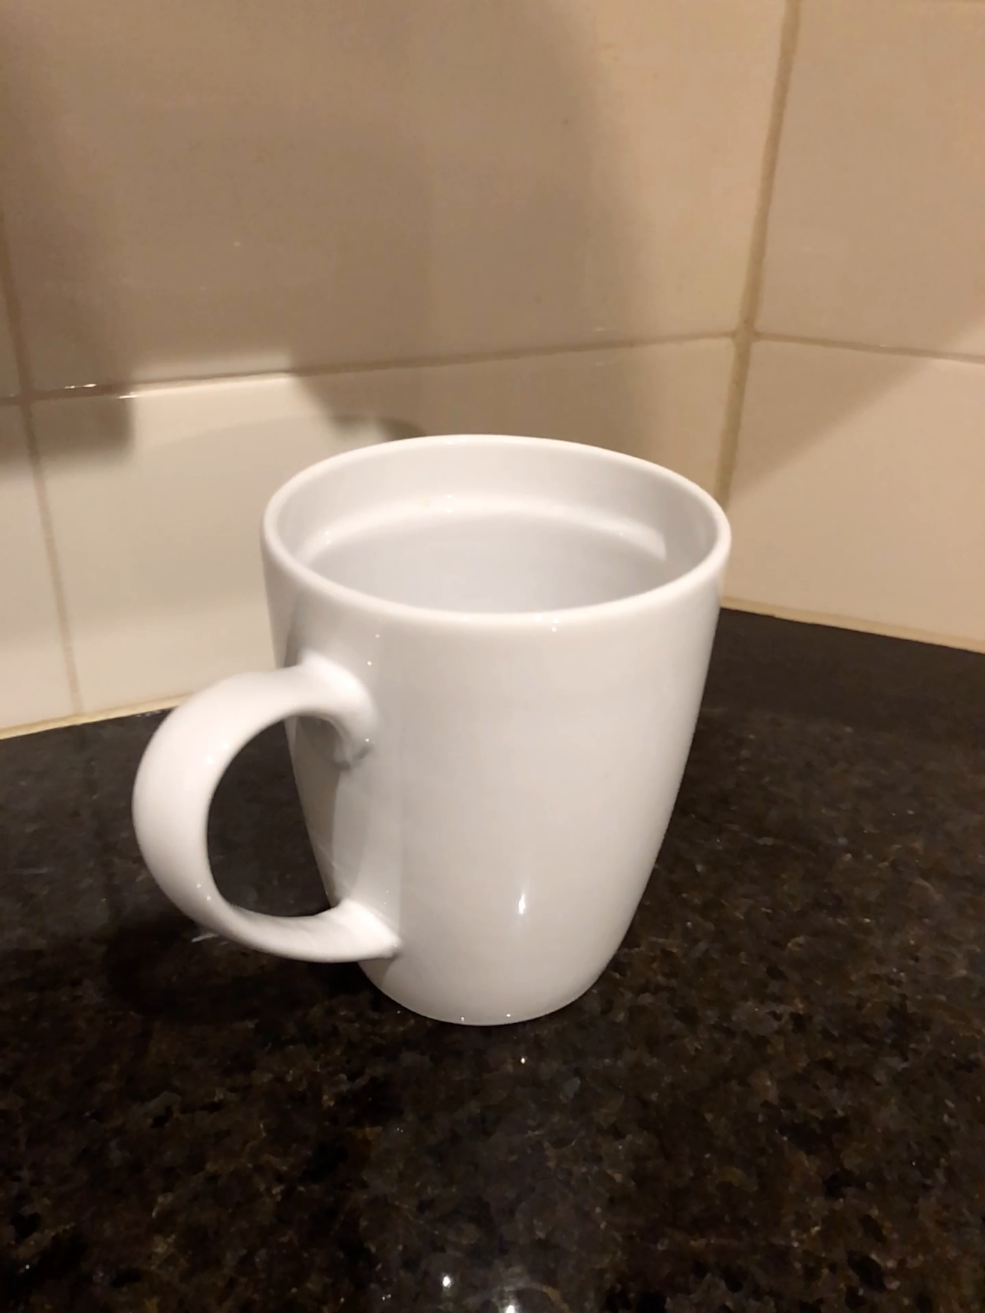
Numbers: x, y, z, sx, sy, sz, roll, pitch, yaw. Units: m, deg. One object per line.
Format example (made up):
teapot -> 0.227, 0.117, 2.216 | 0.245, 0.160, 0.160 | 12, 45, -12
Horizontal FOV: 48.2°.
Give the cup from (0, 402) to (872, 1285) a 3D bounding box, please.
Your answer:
cup -> -0.008, 0.017, 0.212 | 0.090, 0.090, 0.130 | 26, 36, 36
